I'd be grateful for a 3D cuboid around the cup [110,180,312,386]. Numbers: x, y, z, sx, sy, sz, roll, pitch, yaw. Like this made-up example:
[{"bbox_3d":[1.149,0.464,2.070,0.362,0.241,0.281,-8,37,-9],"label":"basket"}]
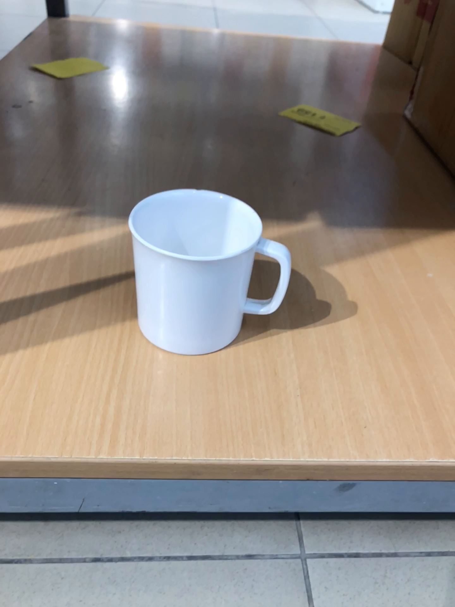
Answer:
[{"bbox_3d":[-0.009,-0.016,0.344,0.110,0.089,0.081,12,39,6],"label":"cup"}]
